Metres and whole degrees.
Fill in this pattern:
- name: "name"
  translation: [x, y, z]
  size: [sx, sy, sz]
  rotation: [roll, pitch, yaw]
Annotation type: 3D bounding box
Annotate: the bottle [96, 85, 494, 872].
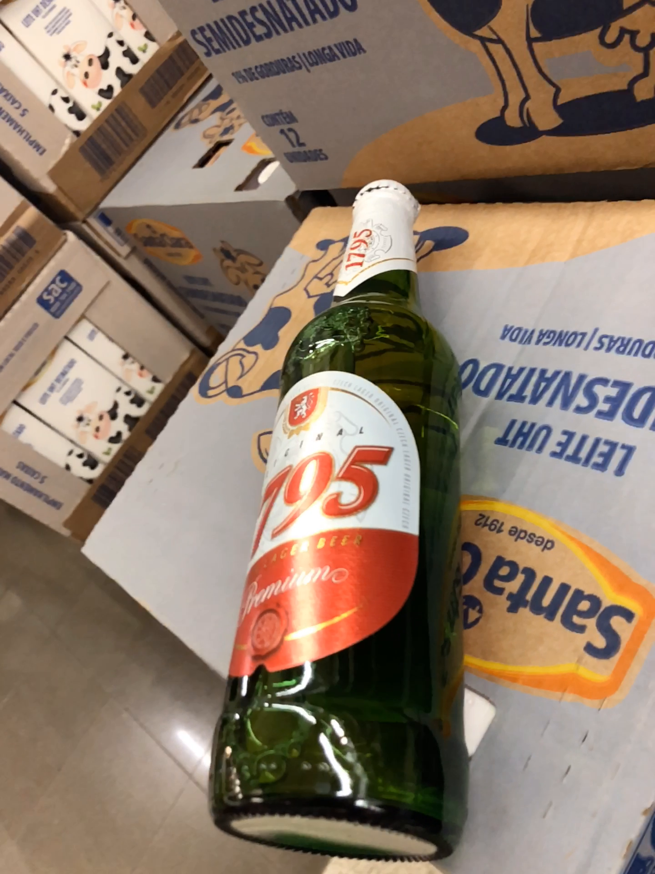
- name: "bottle"
  translation: [0.008, -0.013, 0.250]
  size: [0.070, 0.060, 0.271]
  rotation: [-18, 44, 30]
